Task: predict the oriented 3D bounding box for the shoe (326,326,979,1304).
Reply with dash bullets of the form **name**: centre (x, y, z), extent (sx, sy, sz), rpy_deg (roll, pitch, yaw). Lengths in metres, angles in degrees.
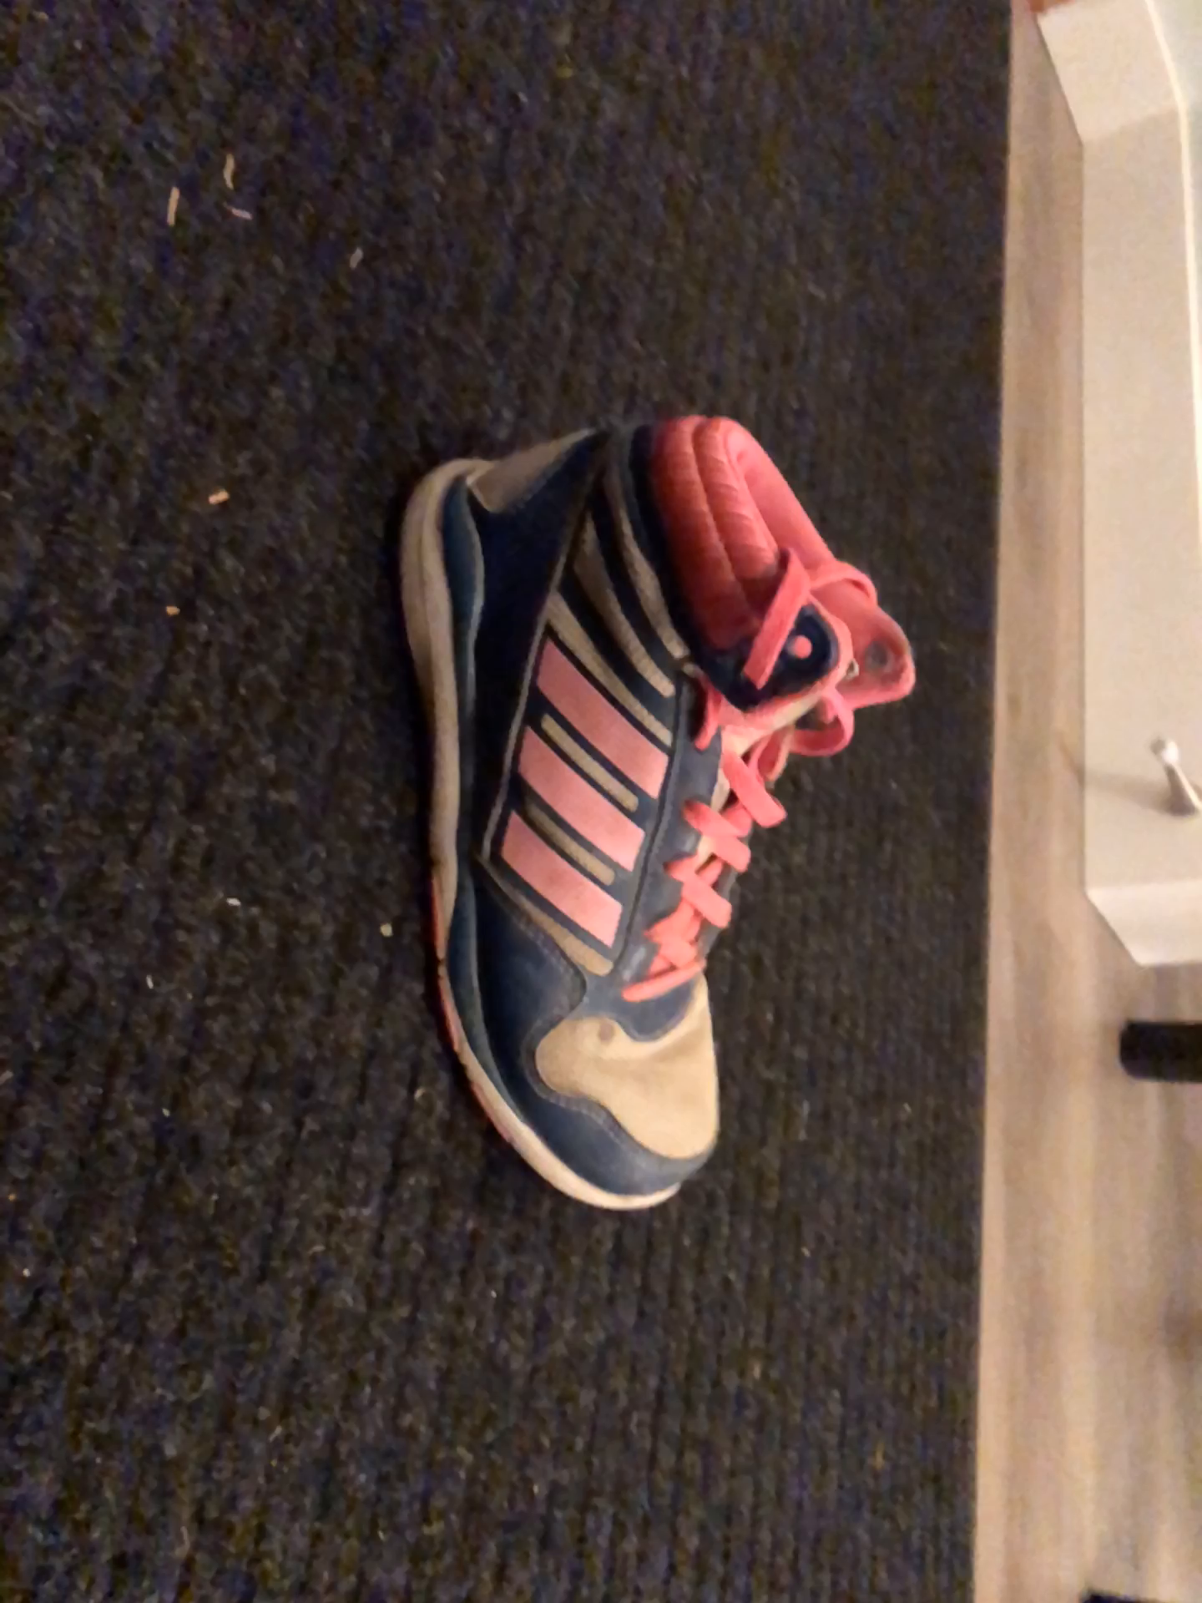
- **shoe**: centre (0.016, 0.005, 0.335), extent (0.091, 0.099, 0.200), rpy_deg (-12, 92, -57)
